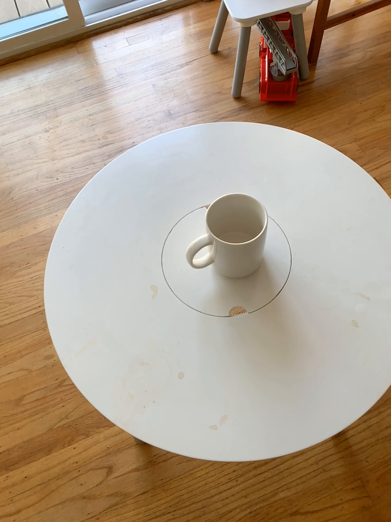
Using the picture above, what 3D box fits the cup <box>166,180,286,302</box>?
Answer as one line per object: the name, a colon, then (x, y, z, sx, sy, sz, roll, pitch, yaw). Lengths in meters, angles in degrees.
cup: (0.043, -0.029, 0.590, 0.130, 0.090, 0.110, -24, 63, -8)
